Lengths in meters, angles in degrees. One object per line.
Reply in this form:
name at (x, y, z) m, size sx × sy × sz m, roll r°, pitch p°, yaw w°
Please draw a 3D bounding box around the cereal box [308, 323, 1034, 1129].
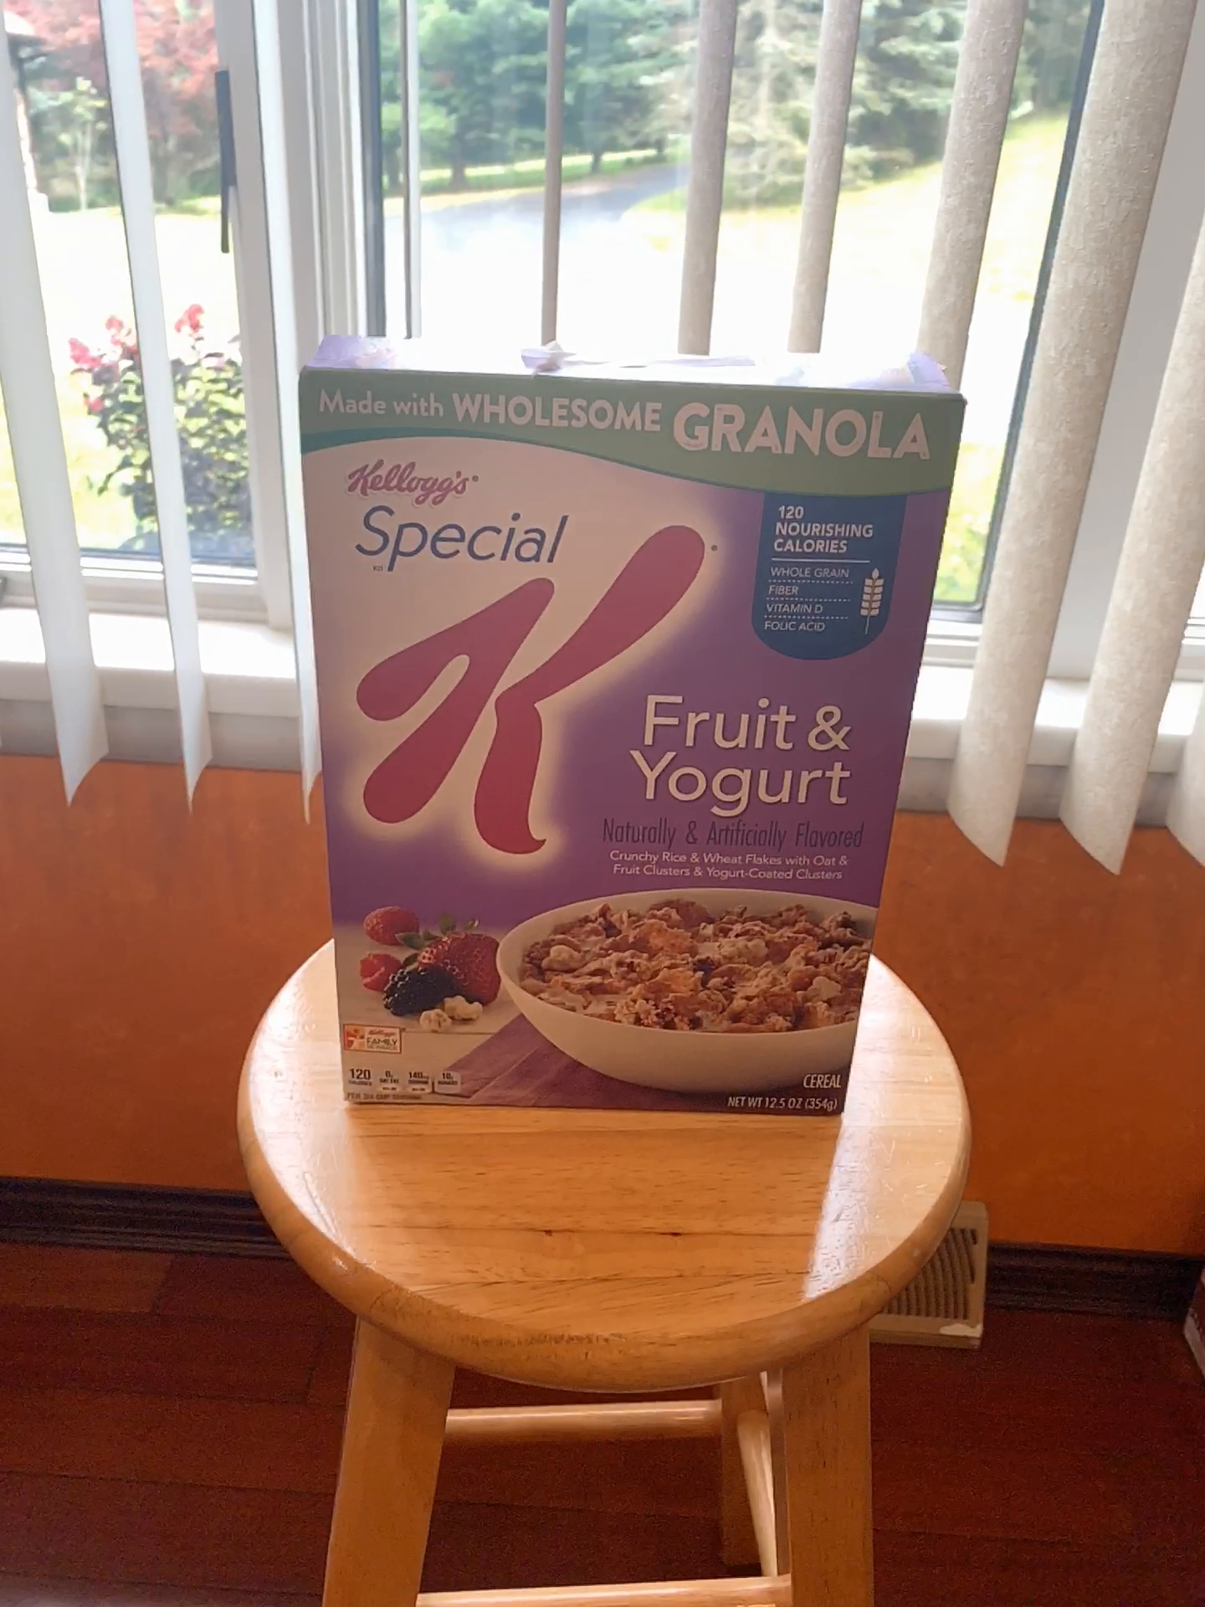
cereal box at (0.013, -0.017, 0.452) m, size 0.210 × 0.278 × 0.070 m, roll 2°, pitch 27°, yaw -2°
